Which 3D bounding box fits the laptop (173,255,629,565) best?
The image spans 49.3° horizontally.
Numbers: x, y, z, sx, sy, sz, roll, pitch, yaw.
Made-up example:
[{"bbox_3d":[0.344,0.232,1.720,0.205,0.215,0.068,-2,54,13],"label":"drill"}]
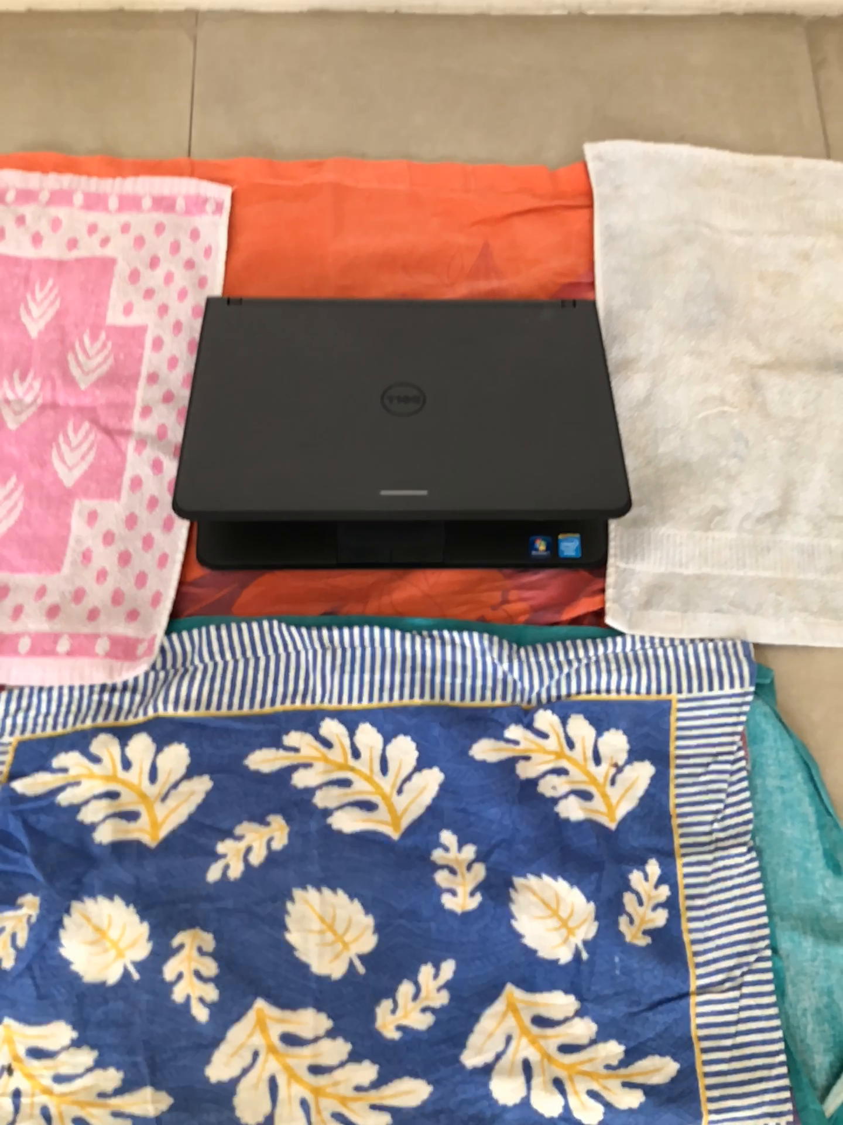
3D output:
[{"bbox_3d":[-0.015,-0.117,0.708,0.314,0.078,0.227,0,71,-2],"label":"laptop"}]
